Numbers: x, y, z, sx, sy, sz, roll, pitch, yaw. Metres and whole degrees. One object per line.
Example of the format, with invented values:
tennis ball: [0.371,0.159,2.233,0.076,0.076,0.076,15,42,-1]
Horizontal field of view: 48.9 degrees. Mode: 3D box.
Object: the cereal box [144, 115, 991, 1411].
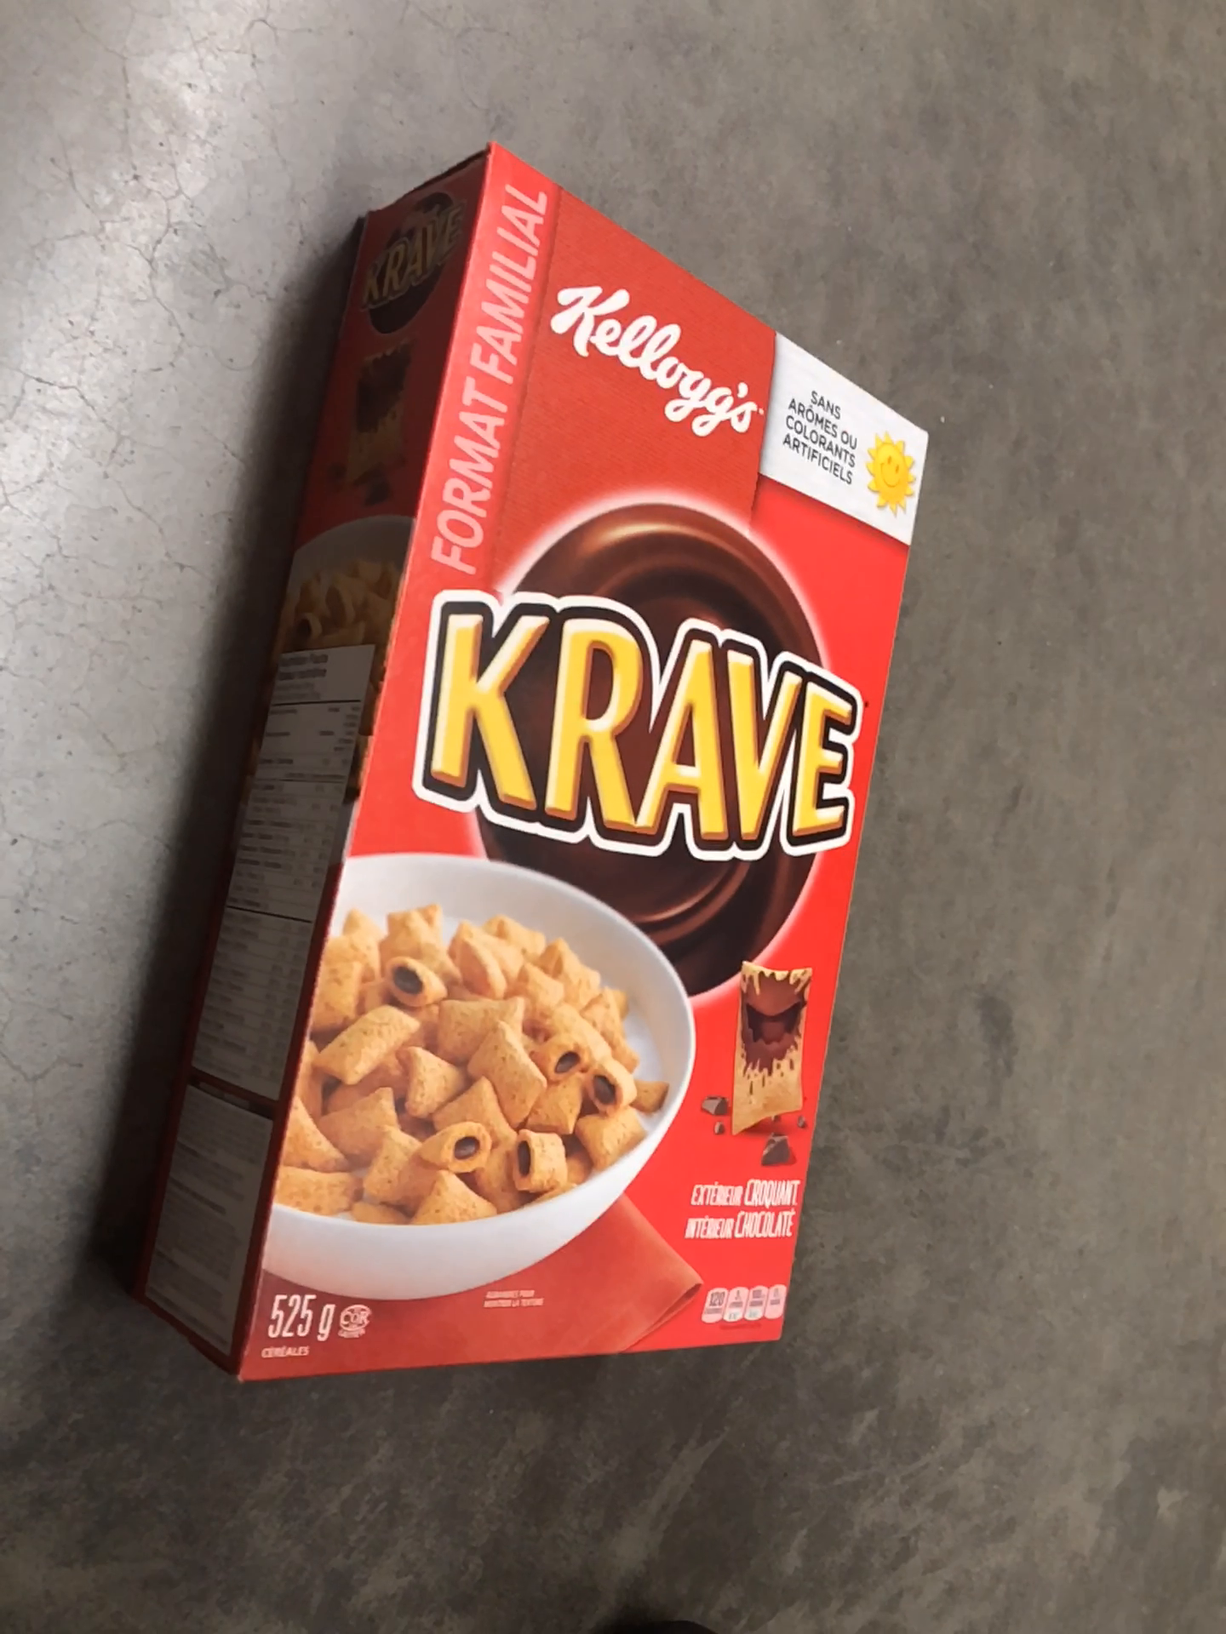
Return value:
cereal box: [0.003,-0.001,0.406,0.201,0.070,0.310,16,83,-41]
